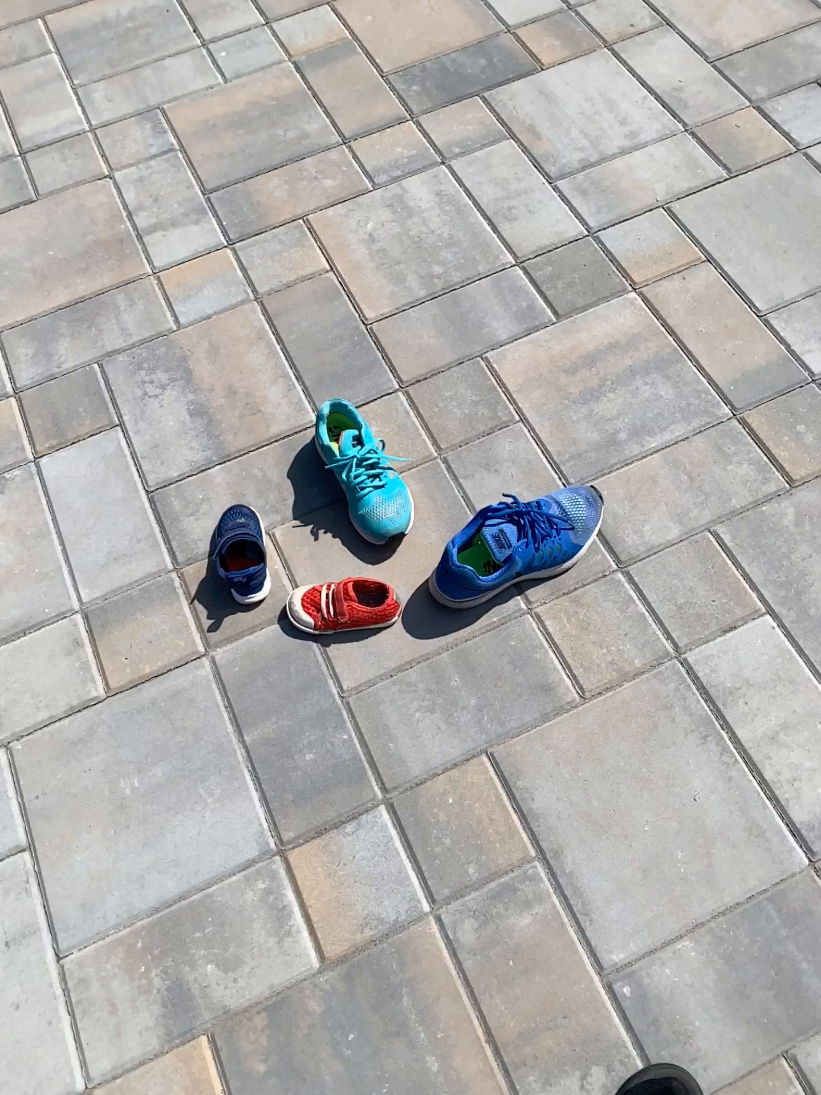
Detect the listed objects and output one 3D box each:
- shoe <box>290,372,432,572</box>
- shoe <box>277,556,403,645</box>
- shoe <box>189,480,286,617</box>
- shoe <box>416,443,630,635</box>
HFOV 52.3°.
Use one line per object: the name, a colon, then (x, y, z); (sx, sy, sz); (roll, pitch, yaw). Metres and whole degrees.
shoe: (-0.068, -0.106, 1.155); (0.100, 0.100, 0.240); (-24, 65, -8)
shoe: (-0.089, 0.070, 1.078); (0.150, 0.080, 0.080); (-4, 64, 2)
shoe: (-0.230, 0.000, 1.114); (0.080, 0.070, 0.150); (-18, 65, -5)
shoe: (0.141, -0.010, 1.077); (0.240, 0.110, 0.110); (-29, 66, -10)
